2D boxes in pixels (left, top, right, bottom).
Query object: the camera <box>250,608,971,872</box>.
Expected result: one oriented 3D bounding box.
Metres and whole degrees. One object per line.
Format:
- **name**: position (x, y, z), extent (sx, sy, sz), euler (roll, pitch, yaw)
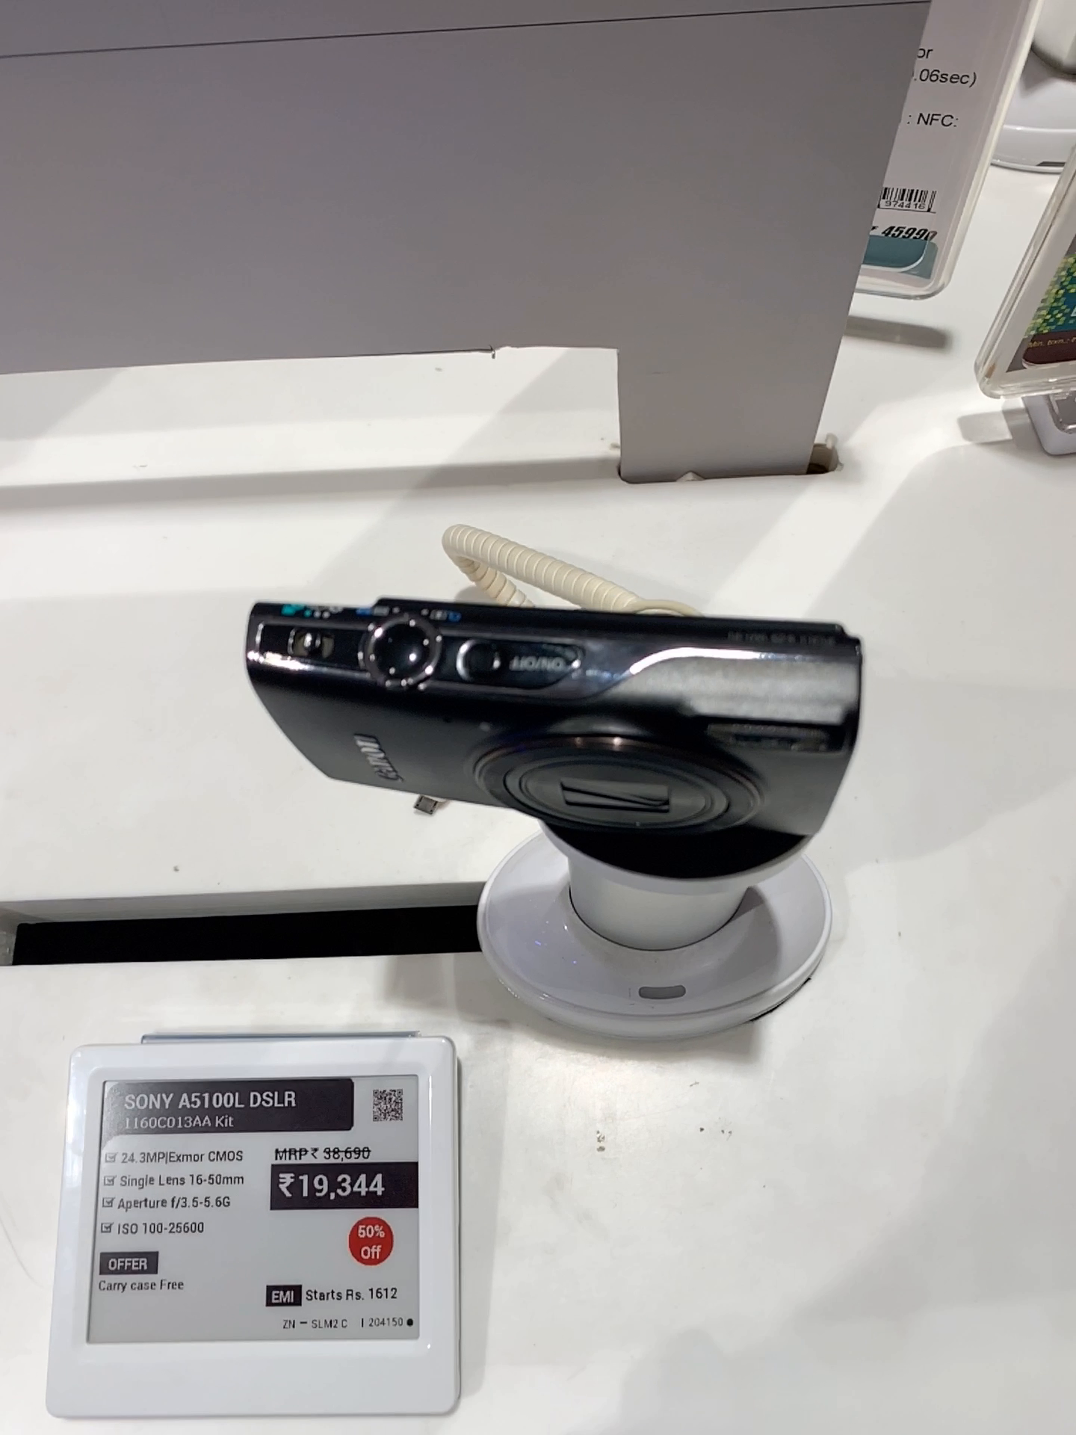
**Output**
- **camera**: position (0.011, 0.006, 0.180), extent (0.100, 0.050, 0.020), euler (3, 67, 4)
